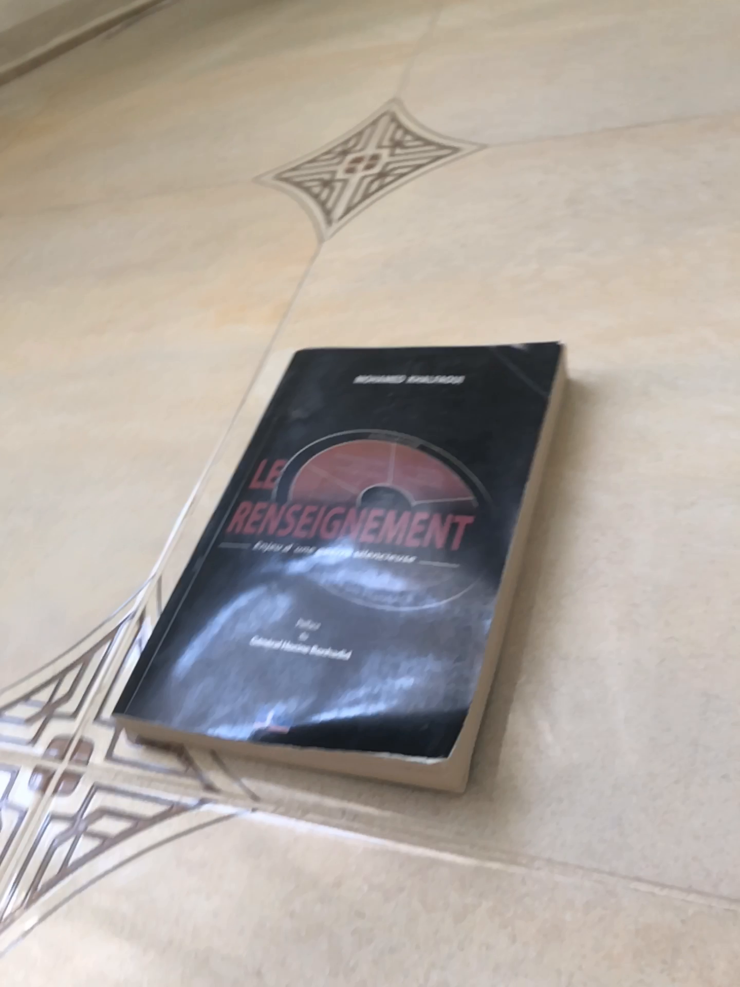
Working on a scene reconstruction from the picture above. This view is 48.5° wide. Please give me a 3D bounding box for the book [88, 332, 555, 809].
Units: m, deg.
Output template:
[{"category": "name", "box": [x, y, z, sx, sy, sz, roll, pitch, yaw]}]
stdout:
[{"category": "book", "box": [-0.010, 0.015, 0.356, 0.146, 0.037, 0.201, 3, 54, 22]}]
